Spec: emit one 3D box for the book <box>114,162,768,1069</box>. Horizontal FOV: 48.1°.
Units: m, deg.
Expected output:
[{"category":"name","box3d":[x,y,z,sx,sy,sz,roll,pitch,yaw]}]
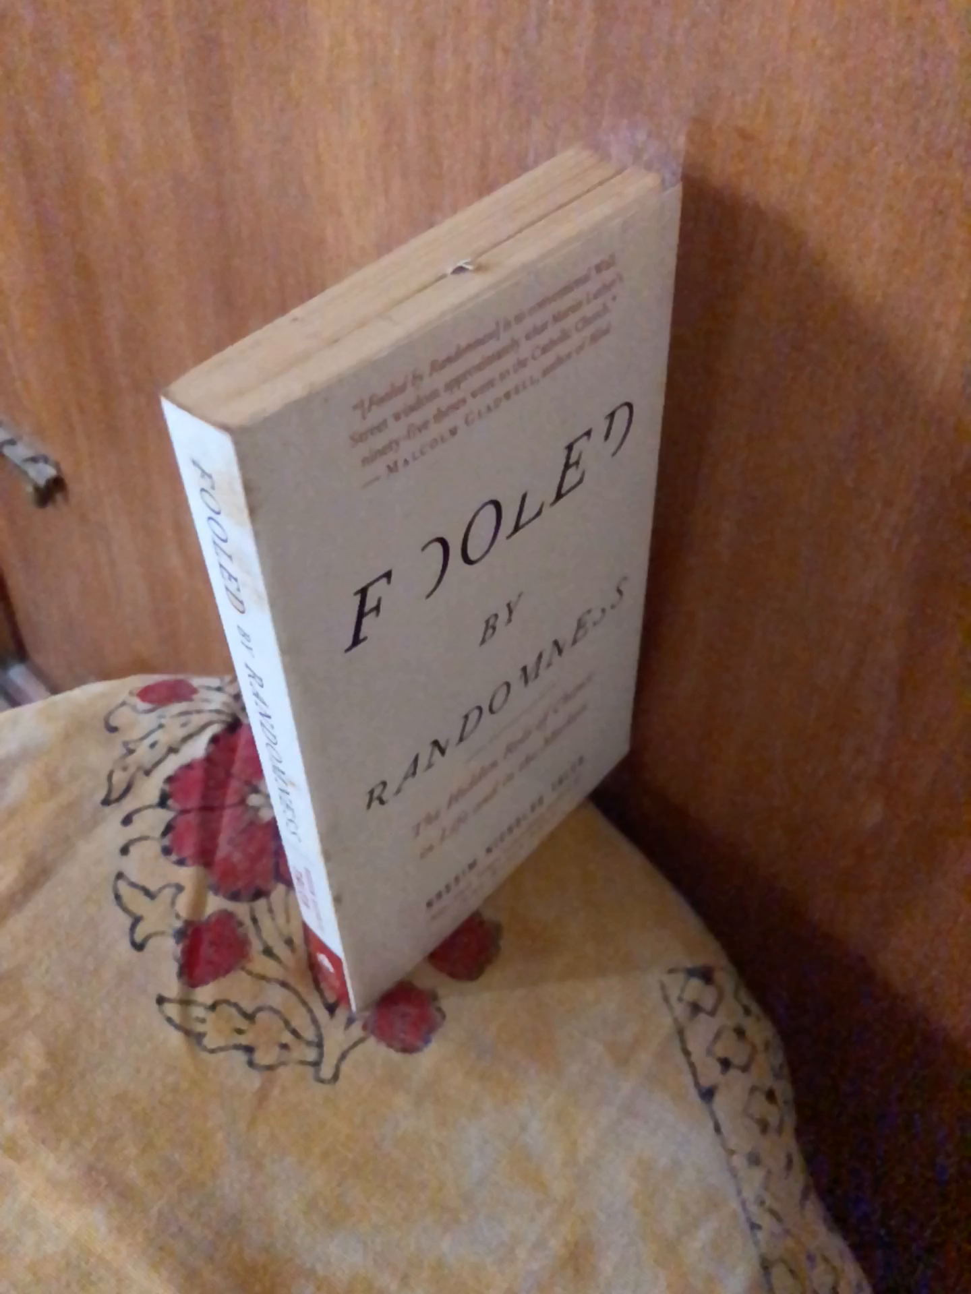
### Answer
[{"category":"book","box3d":[-0.005,-0.005,0.292,0.040,0.199,0.161,31,47,26]}]
